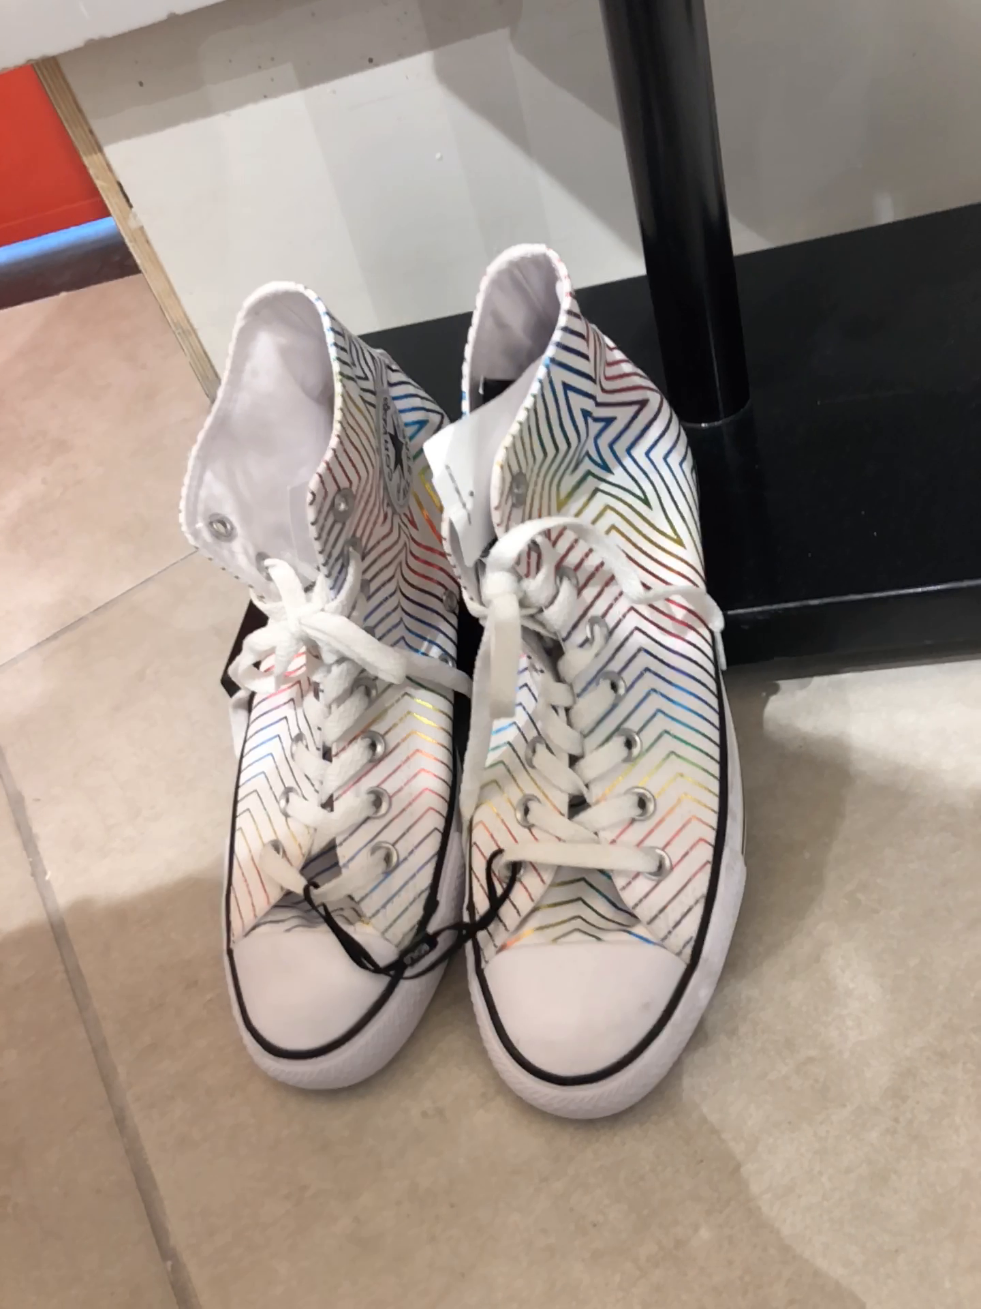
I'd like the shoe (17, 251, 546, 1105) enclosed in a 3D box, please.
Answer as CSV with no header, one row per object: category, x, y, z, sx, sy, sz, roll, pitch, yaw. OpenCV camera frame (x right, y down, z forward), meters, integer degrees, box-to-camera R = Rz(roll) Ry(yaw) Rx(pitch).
shoe,-0.058,0.012,0.435,0.120,0.139,0.302,-5,64,17

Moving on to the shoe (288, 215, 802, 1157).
shoe,0.038,0.005,0.395,0.120,0.139,0.302,-5,57,17
